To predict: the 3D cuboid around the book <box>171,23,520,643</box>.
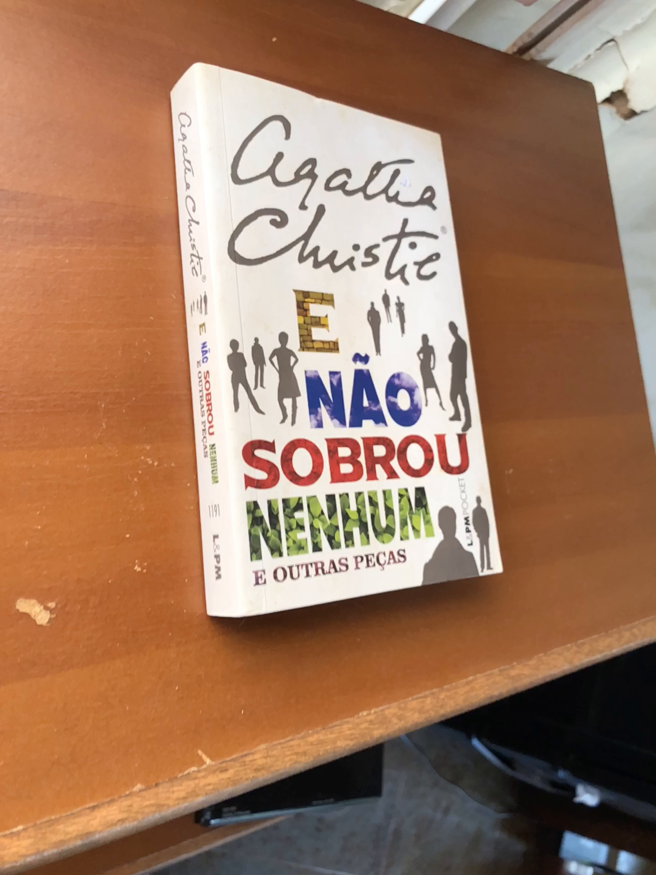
[{"bbox_3d":[0.008,-0.034,0.252,0.111,0.024,0.186,0,82,-33],"label":"book"}]
